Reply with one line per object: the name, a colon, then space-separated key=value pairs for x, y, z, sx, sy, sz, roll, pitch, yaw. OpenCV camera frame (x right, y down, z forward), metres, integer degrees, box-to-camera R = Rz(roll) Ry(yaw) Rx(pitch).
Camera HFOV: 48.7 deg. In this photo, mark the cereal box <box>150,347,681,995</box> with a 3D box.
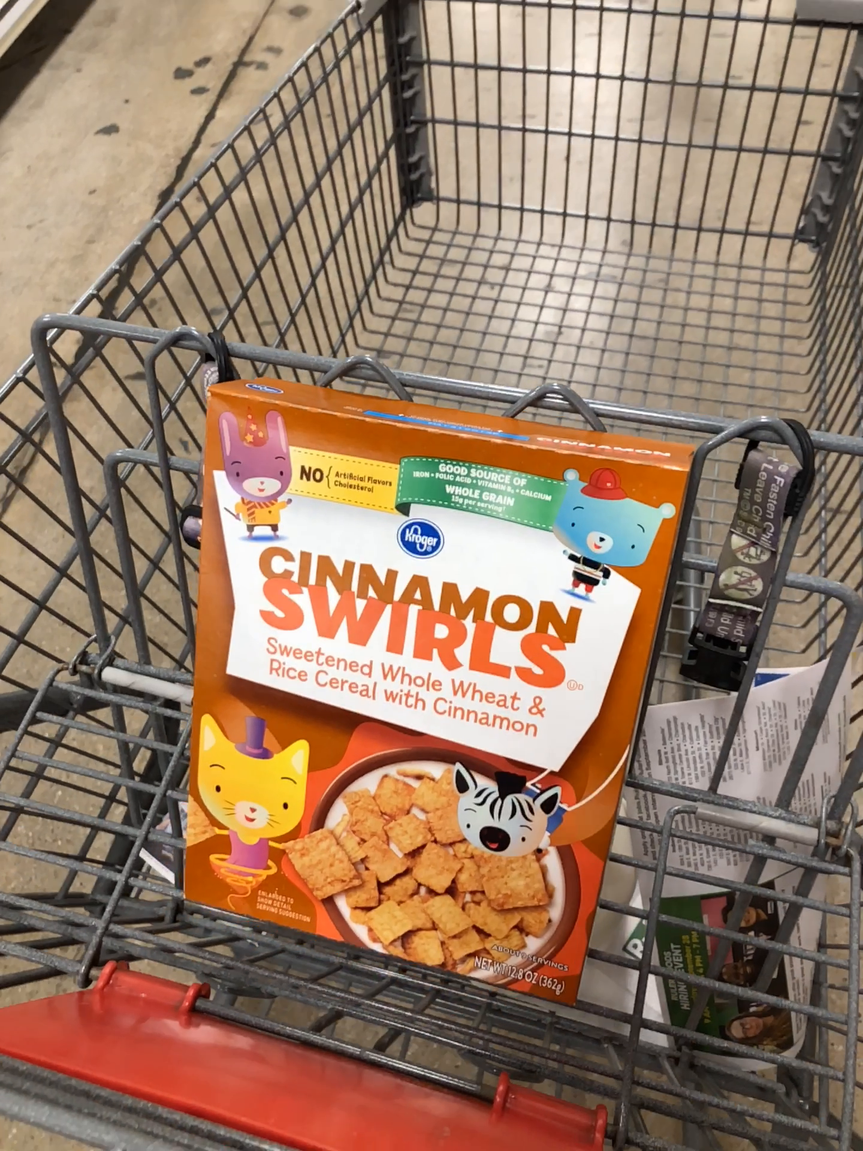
cereal box: x=-0.017 y=0.043 z=0.430 sx=0.210 sy=0.260 sz=0.050 roll=9 pitch=19 yaw=11
